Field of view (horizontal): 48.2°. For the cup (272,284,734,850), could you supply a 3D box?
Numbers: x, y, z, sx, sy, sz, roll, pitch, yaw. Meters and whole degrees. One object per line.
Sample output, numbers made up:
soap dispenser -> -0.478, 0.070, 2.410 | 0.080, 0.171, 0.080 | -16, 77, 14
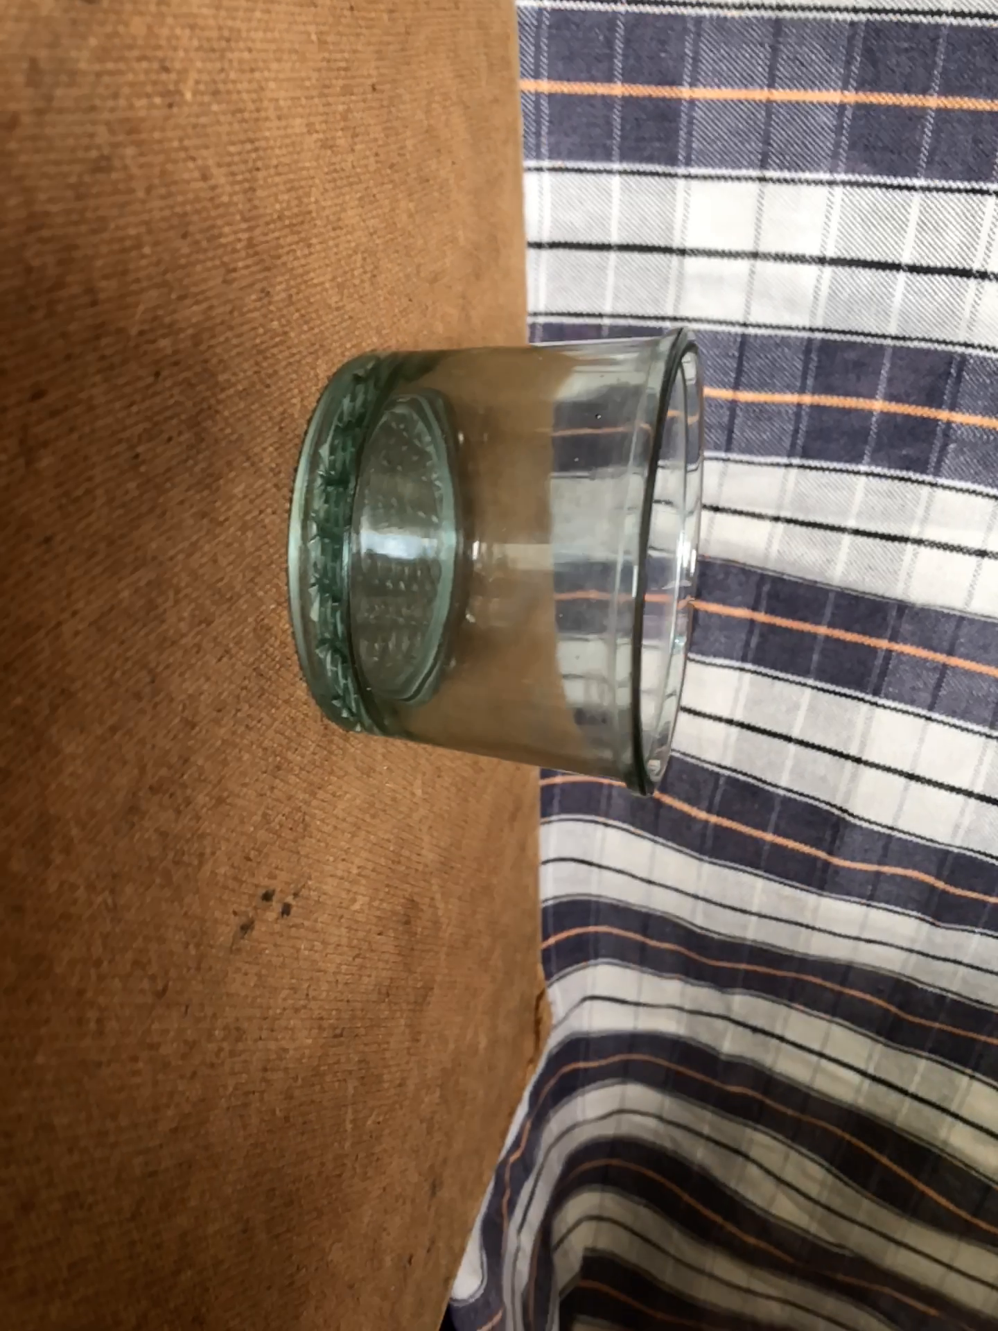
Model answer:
cup -> 0.006, -0.016, 0.199 | 0.070, 0.060, 0.080 | 3, 92, -75
